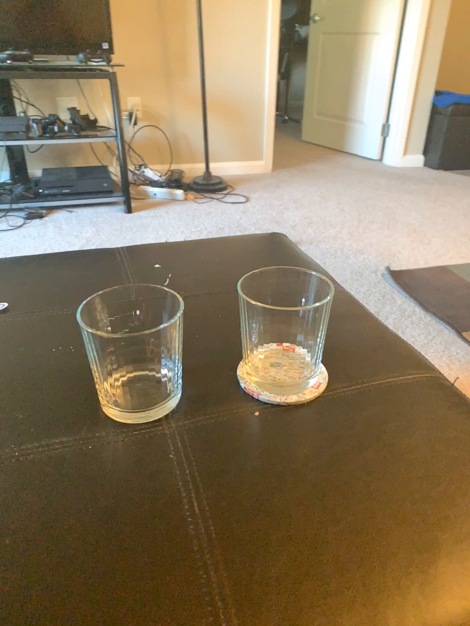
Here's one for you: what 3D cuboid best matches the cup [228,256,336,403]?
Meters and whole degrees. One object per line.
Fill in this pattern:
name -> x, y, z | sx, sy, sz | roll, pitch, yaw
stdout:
cup -> 0.047, 0.013, 0.473 | 0.080, 0.099, 0.090 | 10, 31, 17

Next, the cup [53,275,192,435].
cup -> -0.093, 0.034, 0.425 | 0.080, 0.099, 0.080 | 0, 29, 0
